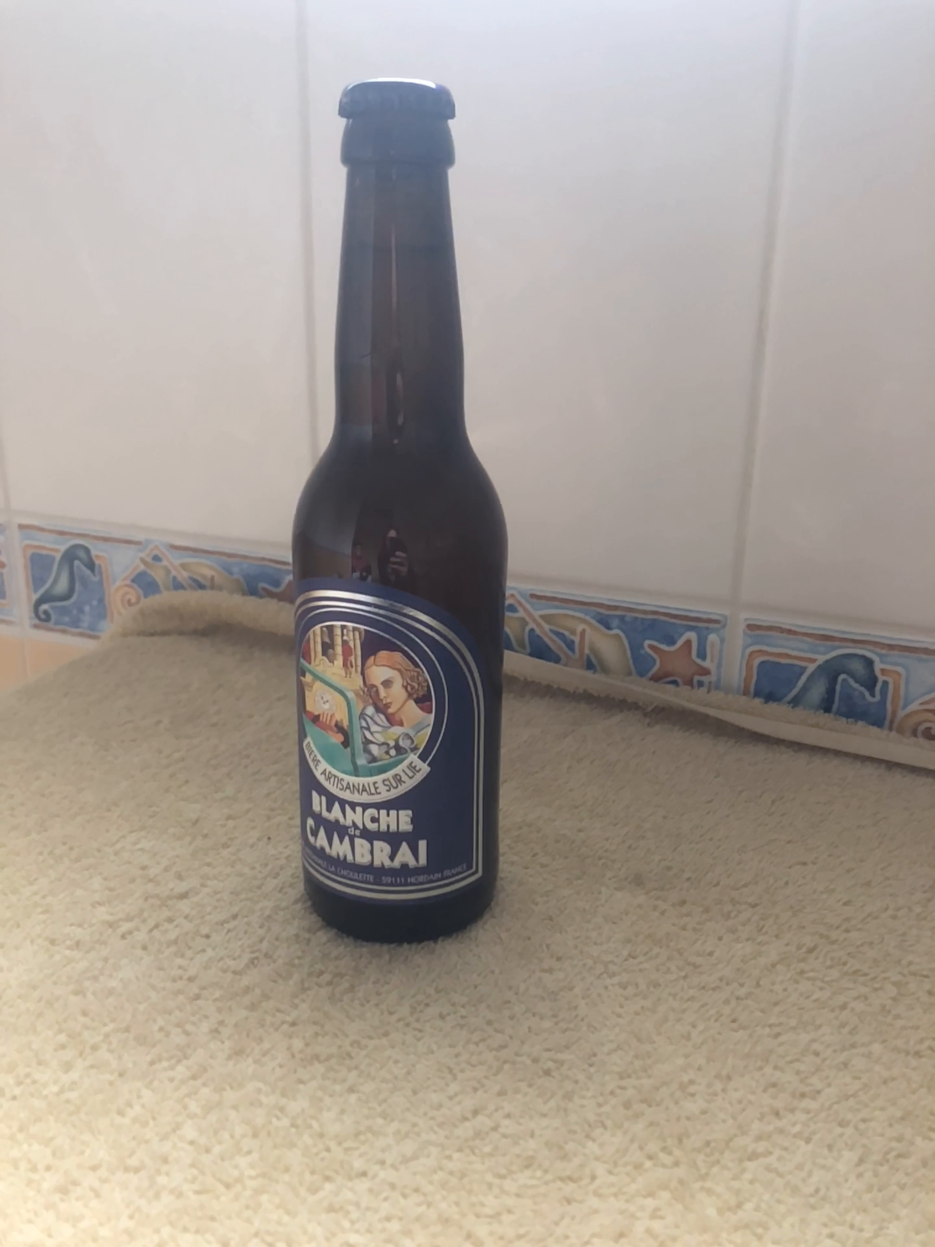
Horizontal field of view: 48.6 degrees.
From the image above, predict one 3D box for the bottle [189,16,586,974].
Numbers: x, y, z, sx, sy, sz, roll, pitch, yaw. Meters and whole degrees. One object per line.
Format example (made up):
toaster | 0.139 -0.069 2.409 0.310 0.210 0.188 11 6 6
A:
bottle | -0.017 -0.028 0.278 0.070 0.219 0.070 1 18 0
